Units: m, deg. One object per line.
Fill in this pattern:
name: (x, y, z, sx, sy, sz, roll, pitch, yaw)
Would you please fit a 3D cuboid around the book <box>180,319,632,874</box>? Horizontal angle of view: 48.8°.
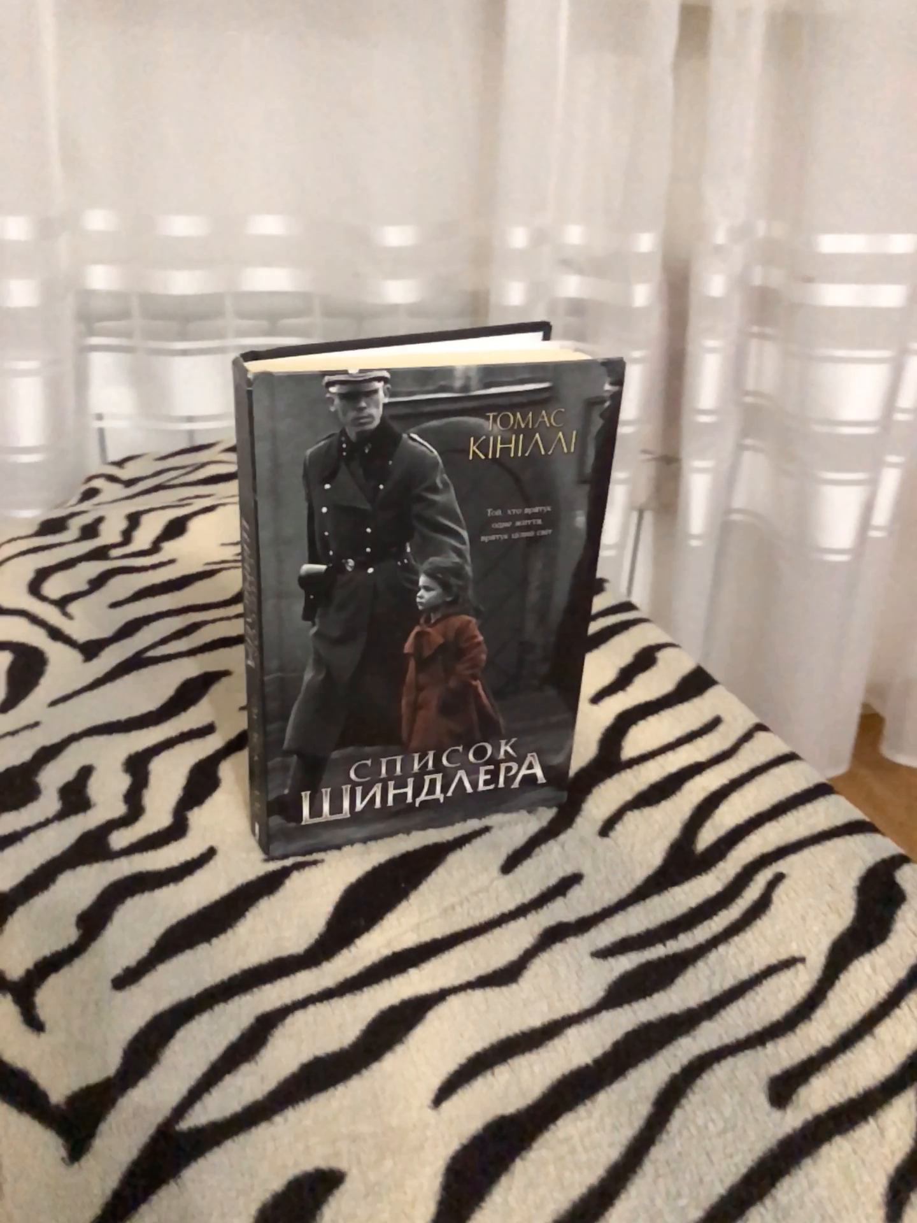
book: (-0.022, -0.007, 0.391, 0.144, 0.191, 0.057, -9, 31, -22)
